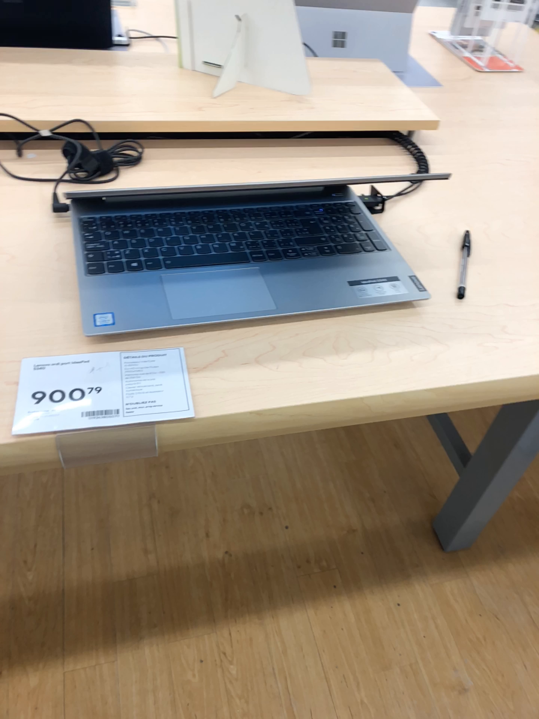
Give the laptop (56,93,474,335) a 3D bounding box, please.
[{"bbox_3d":[-0.022,-0.168,0.609,0.351,0.122,0.234,-8,46,-16],"label":"laptop"}]
